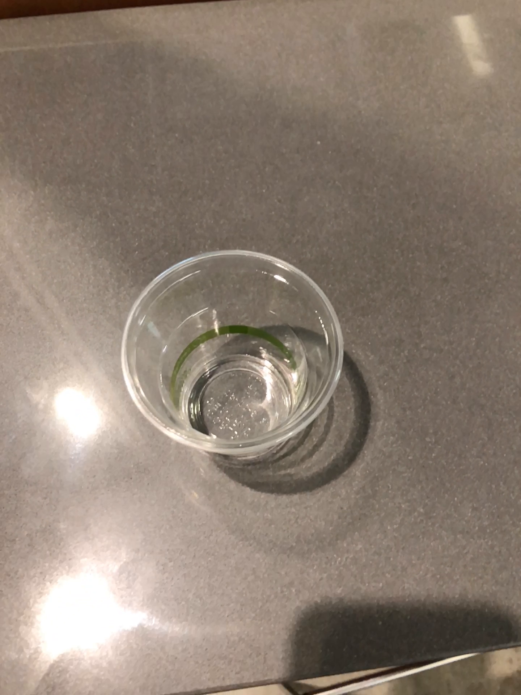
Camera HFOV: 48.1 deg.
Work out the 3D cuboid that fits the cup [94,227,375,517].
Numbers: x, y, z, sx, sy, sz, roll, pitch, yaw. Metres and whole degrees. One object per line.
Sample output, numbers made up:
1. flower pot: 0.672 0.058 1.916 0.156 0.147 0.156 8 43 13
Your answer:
1. cup: -0.006 0.010 0.214 0.070 0.060 0.070 0 63 0
